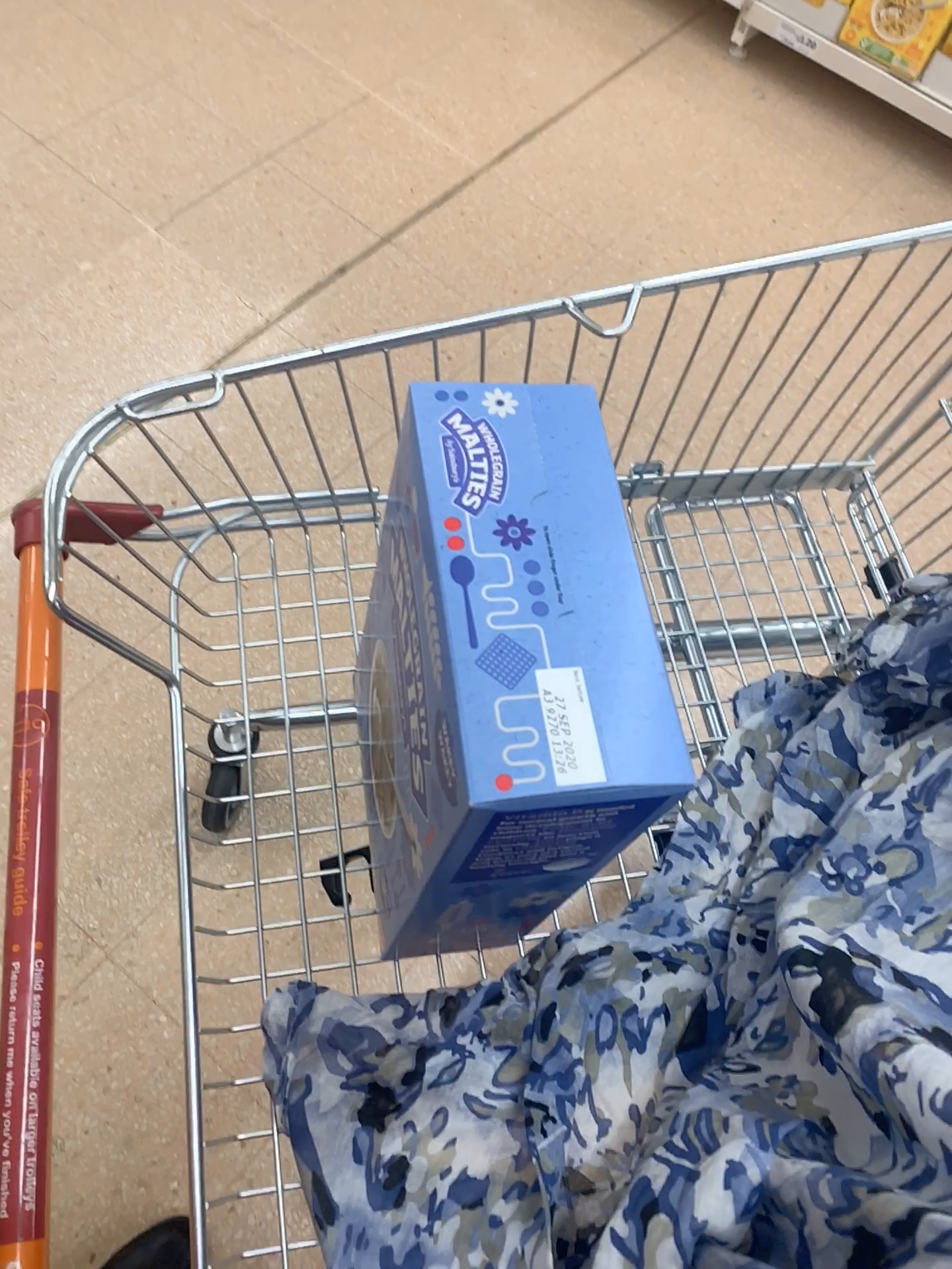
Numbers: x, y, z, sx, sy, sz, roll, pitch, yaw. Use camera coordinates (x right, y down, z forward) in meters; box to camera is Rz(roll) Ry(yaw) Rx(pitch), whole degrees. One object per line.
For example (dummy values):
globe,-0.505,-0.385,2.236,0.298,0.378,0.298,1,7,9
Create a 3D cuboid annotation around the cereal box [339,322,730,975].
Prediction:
cereal box,-0.003,0.030,0.491,0.090,0.288,0.221,-4,64,-14
